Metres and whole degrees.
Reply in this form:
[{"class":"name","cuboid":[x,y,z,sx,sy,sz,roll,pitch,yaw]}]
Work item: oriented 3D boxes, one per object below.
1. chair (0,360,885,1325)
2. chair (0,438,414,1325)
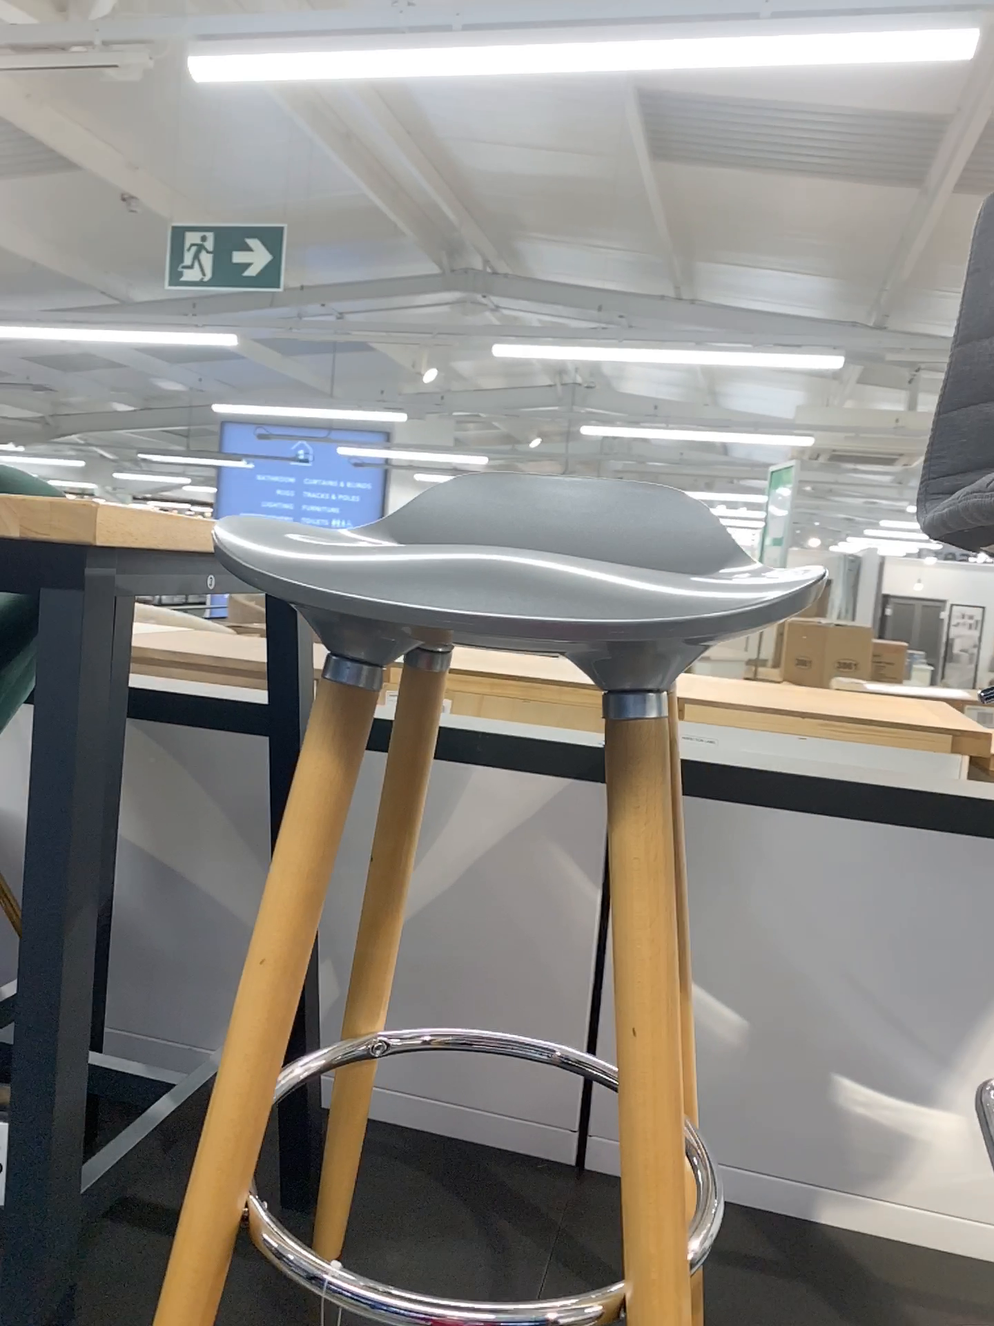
[{"class":"chair","cuboid":[-0.017,0.209,0.752,0.442,0.739,0.461,6,5,14]},{"class":"chair","cuboid":[-0.387,0.202,0.879,0.442,0.689,0.501,6,5,12]}]
